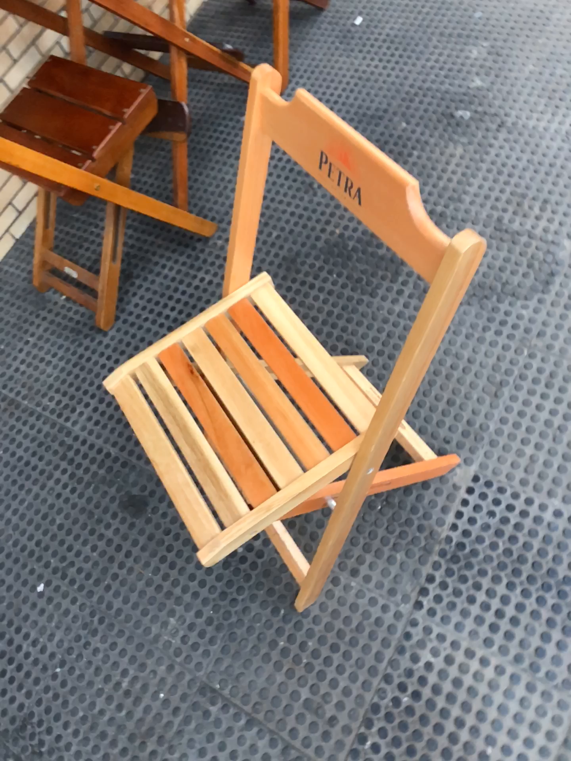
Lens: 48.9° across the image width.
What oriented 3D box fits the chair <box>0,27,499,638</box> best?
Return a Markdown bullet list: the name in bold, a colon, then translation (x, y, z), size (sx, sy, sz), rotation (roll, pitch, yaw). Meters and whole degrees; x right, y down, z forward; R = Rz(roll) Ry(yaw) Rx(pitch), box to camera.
- **chair**: translation (-0.029, 0.010, 1.013), size (0.500, 0.757, 0.482), rotation (-36, 58, -3)
